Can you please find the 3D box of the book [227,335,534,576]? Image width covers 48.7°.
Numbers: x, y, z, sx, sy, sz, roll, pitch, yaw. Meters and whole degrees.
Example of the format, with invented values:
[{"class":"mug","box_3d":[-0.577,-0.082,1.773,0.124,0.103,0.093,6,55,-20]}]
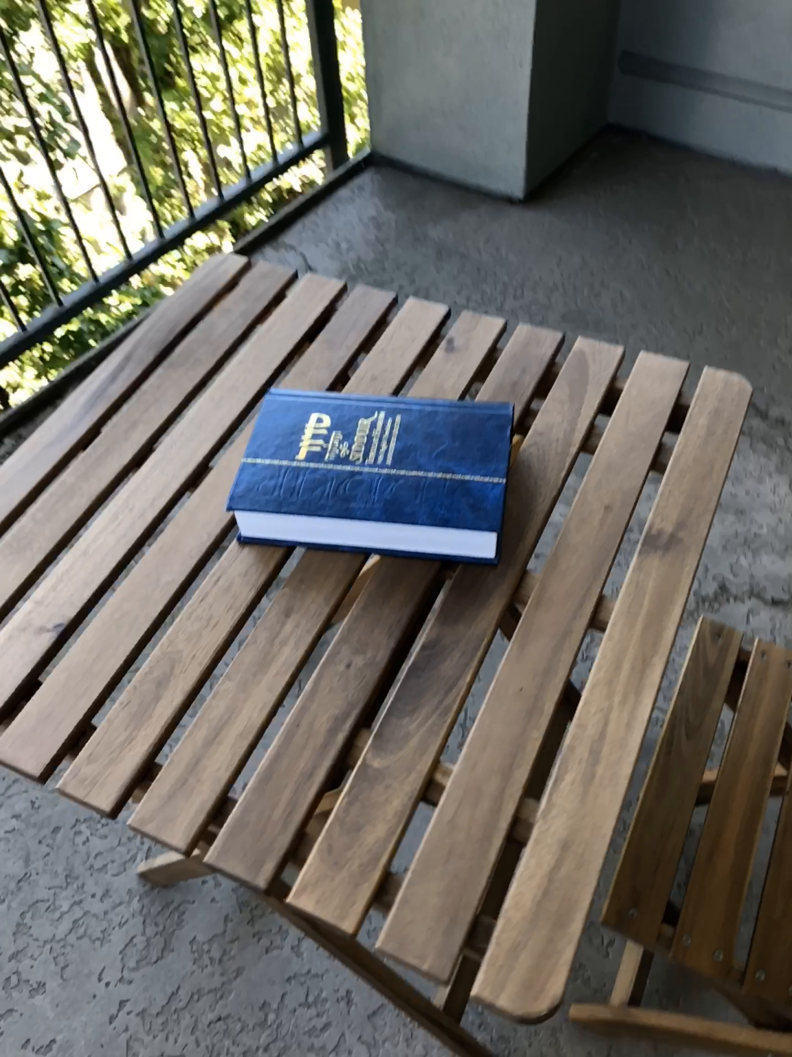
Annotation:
[{"class":"book","box_3d":[-0.004,-0.072,0.777,0.230,0.070,0.201,6,52,9]}]
